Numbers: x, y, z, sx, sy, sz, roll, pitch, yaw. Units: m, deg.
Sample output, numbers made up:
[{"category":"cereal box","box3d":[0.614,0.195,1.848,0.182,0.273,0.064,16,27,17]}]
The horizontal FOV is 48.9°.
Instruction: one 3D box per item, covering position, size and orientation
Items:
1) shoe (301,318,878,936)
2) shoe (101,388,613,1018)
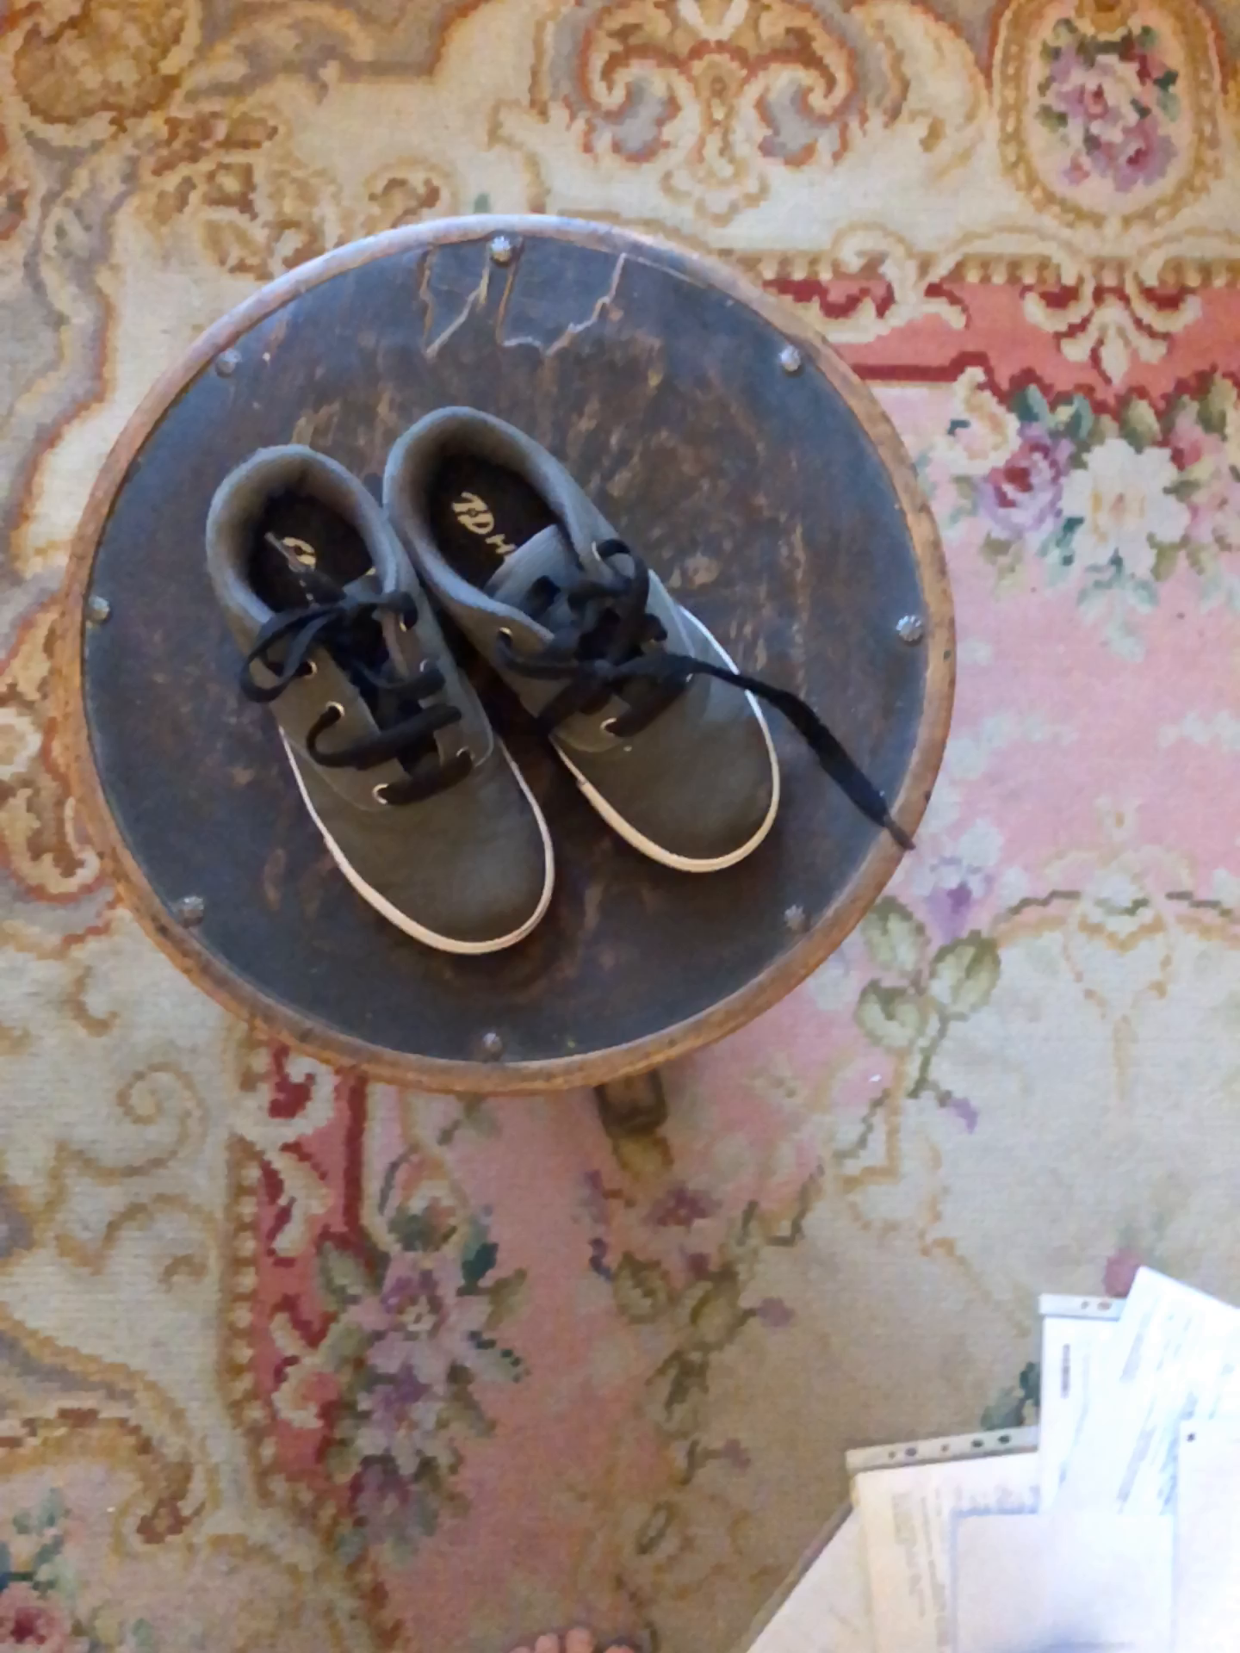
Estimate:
[{"category":"shoe","box3d":[-0.012,-0.070,0.532,0.090,0.100,0.211,-39,85,-5]},{"category":"shoe","box3d":[-0.095,-0.041,0.534,0.090,0.100,0.211,-30,84,-4]}]
